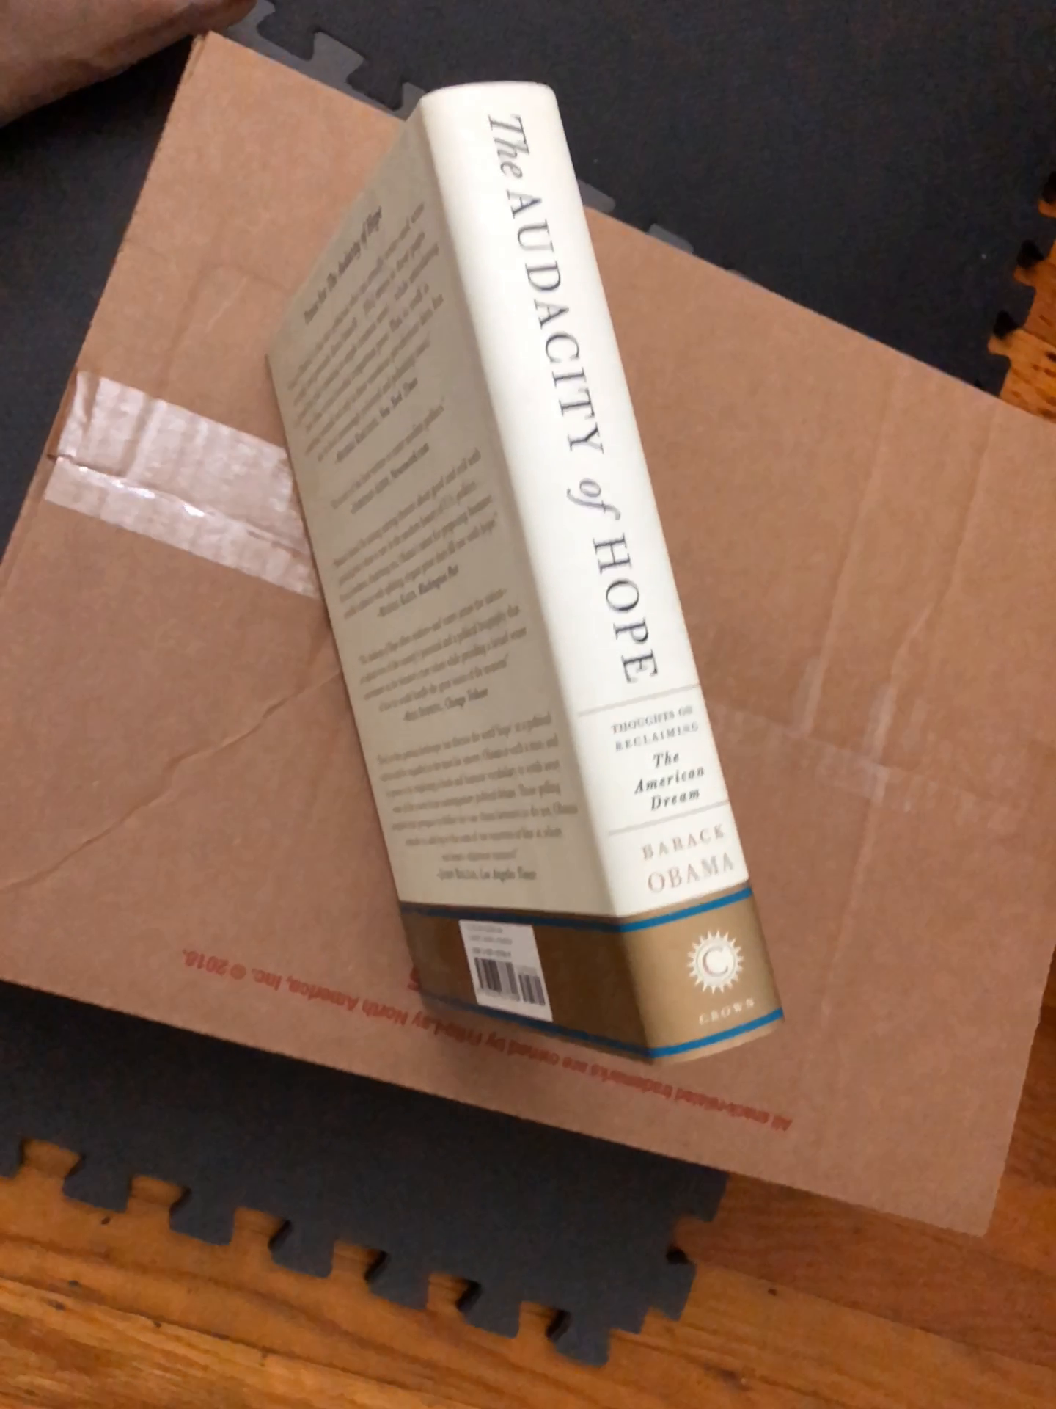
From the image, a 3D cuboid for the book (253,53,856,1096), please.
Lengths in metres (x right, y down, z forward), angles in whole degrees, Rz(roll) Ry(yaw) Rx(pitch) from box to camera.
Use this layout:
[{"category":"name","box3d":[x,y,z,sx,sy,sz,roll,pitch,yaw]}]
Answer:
[{"category":"book","box3d":[-0.008,-0.028,0.363,0.060,0.170,0.250,-13,90,-27]}]
